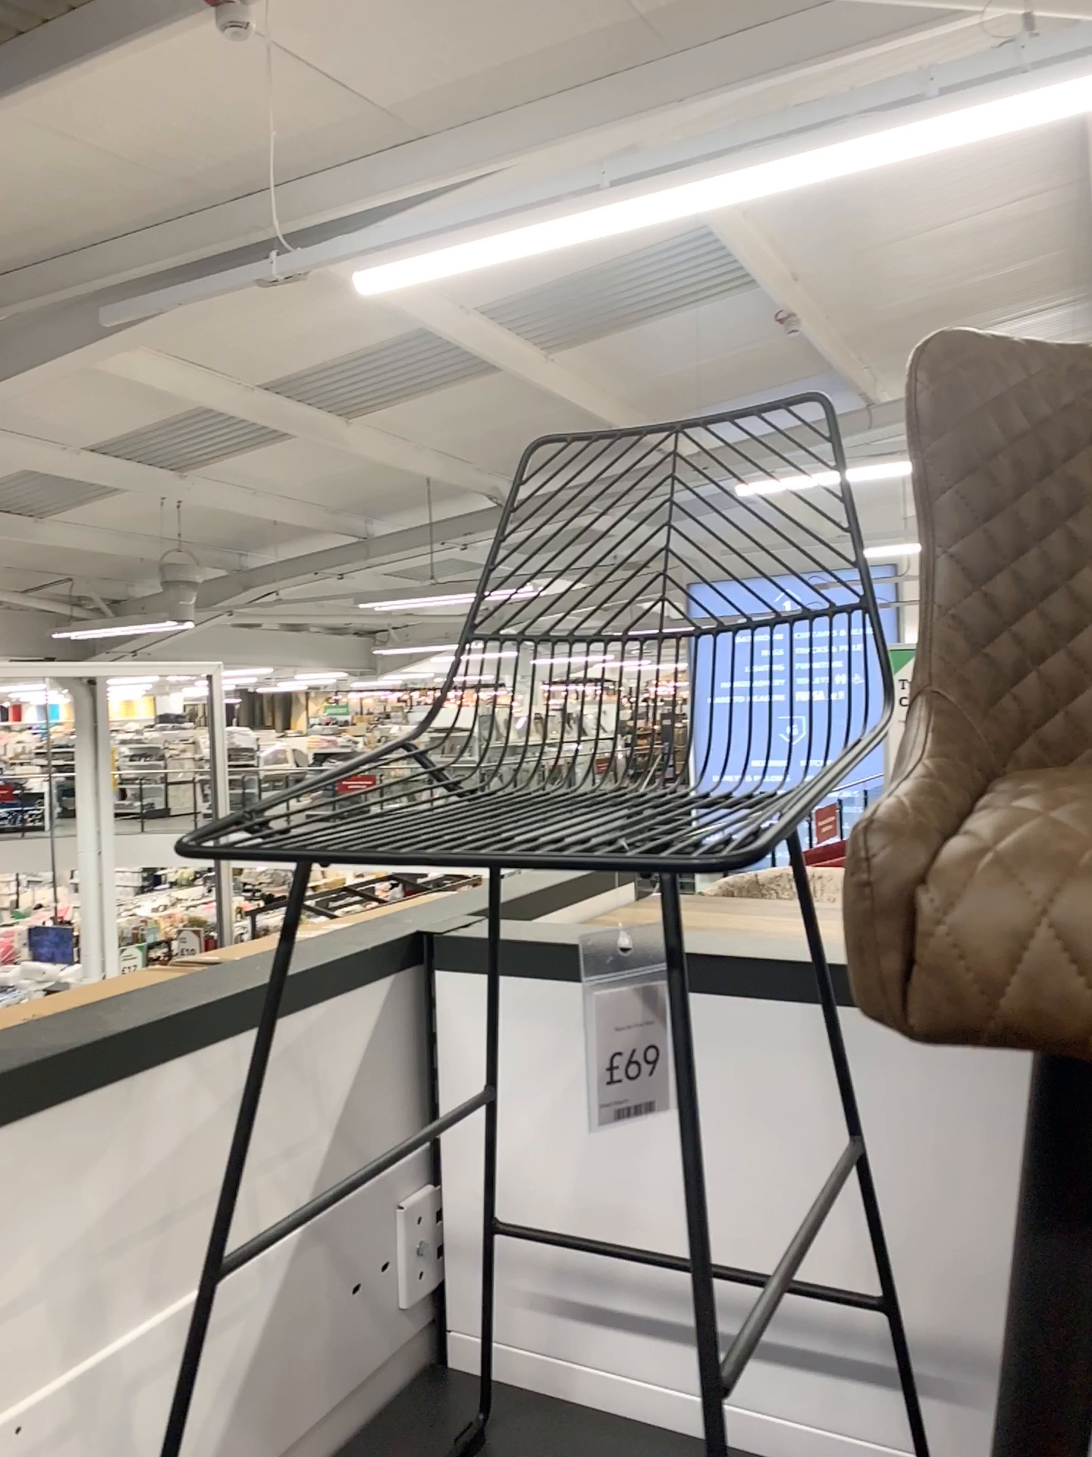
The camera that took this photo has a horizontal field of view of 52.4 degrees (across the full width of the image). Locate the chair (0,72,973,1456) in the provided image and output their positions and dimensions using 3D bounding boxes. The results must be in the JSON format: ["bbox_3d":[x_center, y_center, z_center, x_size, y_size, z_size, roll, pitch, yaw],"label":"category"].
[{"bbox_3d":[0.000,0.193,0.835,0.508,0.968,0.528,-2,1,27],"label":"chair"}]
